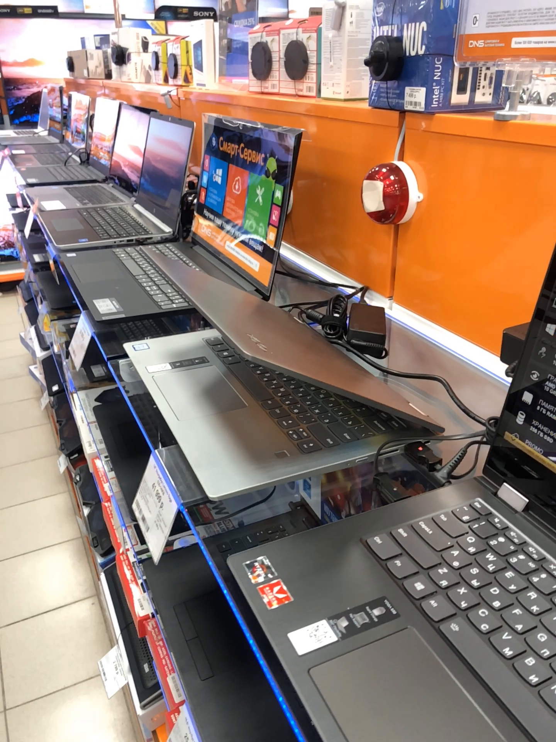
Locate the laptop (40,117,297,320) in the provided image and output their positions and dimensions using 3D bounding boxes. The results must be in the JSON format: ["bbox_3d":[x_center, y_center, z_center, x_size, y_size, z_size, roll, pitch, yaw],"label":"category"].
[{"bbox_3d":[-0.172,-0.253,0.921,0.276,0.219,0.330,-11,28,-23],"label":"laptop"}]

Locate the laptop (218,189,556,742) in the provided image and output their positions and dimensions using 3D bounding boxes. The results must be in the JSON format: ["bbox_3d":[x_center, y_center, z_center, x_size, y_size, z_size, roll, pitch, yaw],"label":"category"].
[{"bbox_3d":[0.146,0.068,0.267,0.247,0.210,0.329,-12,29,-23],"label":"laptop"}]

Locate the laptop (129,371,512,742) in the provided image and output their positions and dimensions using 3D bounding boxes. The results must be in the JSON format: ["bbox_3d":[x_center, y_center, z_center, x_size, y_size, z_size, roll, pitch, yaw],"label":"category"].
[{"bbox_3d":[0.012,0.198,0.665,0.260,0.223,0.363,-11,28,-21],"label":"laptop"}]

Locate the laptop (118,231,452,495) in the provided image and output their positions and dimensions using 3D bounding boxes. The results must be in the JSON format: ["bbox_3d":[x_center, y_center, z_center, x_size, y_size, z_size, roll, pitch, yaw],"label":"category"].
[{"bbox_3d":[-0.018,-0.039,0.607,0.210,0.110,0.314,-11,28,-21],"label":"laptop"}]

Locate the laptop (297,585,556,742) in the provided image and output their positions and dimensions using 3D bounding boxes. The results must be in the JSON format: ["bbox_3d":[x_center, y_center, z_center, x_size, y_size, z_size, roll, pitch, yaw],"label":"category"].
[{"bbox_3d":[0.179,0.355,0.310,0.235,0.228,0.330,-13,28,-22],"label":"laptop"}]

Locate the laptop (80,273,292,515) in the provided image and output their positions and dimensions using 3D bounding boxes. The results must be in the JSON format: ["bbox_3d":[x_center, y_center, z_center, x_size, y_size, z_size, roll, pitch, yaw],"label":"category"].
[{"bbox_3d":[-0.164,0.015,1.025,0.243,0.222,0.334,-13,29,-20],"label":"laptop"}]
